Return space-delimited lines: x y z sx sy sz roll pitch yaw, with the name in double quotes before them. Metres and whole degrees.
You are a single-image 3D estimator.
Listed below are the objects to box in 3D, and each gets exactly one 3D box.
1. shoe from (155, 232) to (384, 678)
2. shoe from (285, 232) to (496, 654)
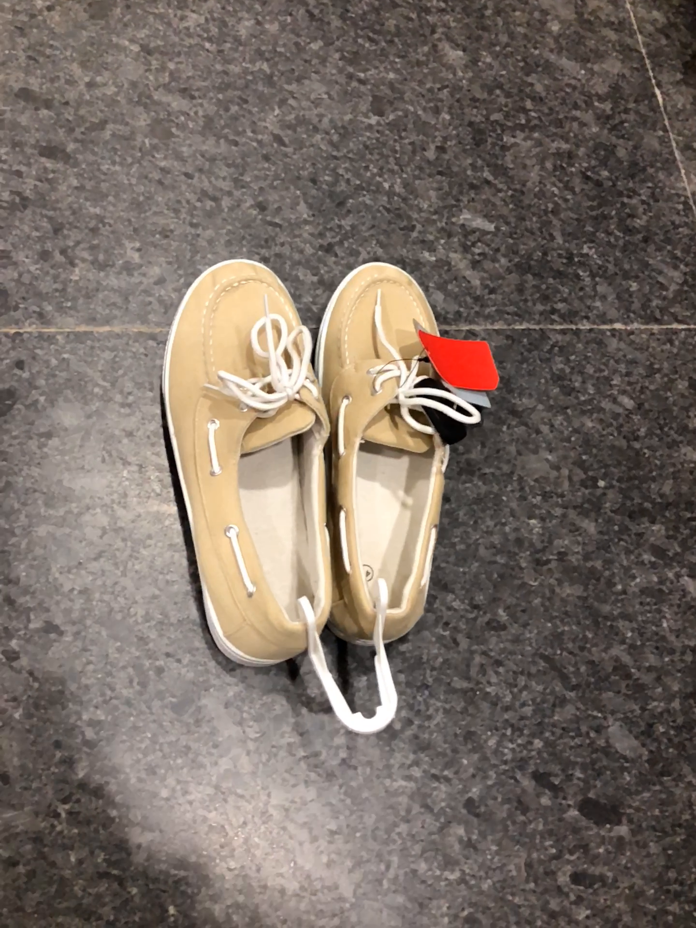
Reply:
"shoe" -0.058 -0.003 0.468 0.103 0.106 0.242 -1 71 -17
"shoe" 0.025 -0.009 0.498 0.097 0.106 0.242 8 69 -14
